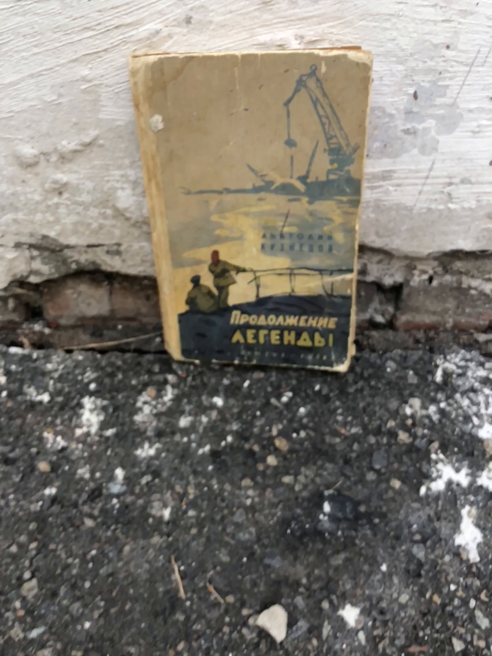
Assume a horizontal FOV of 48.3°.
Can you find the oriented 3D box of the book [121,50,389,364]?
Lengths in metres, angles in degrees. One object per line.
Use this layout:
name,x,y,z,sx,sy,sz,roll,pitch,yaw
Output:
book,0.005,-0.067,0.333,0.136,0.181,0.030,2,28,5
